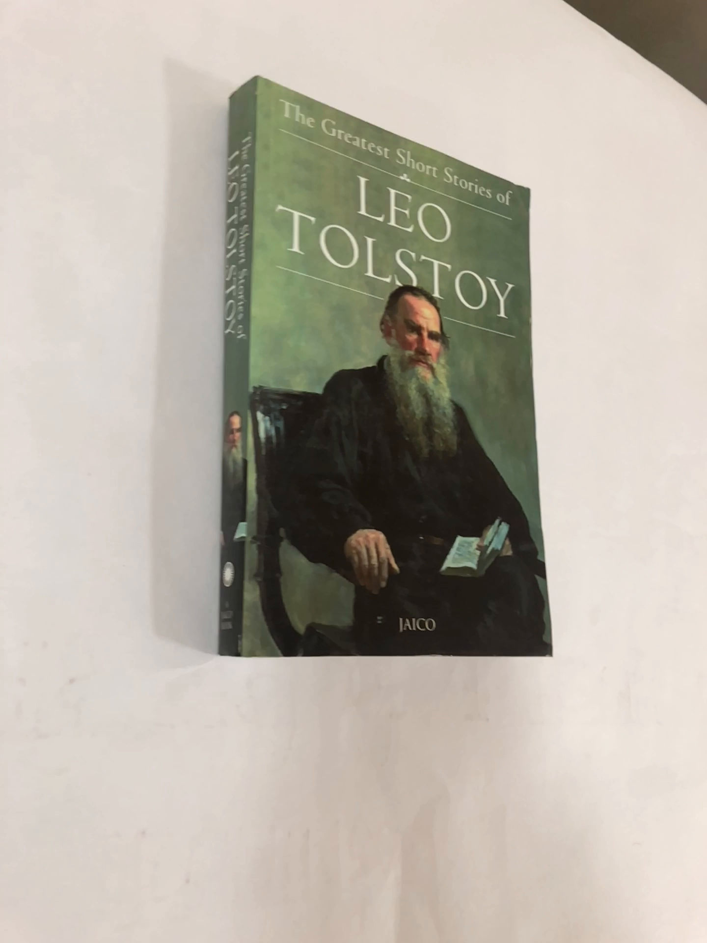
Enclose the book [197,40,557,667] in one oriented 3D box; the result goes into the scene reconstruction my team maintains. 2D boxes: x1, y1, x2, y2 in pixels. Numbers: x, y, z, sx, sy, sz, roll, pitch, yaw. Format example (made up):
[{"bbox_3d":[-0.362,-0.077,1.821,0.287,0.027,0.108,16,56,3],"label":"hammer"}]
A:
[{"bbox_3d":[0.014,-0.041,0.321,0.150,0.020,0.230,8,73,-34],"label":"book"}]
